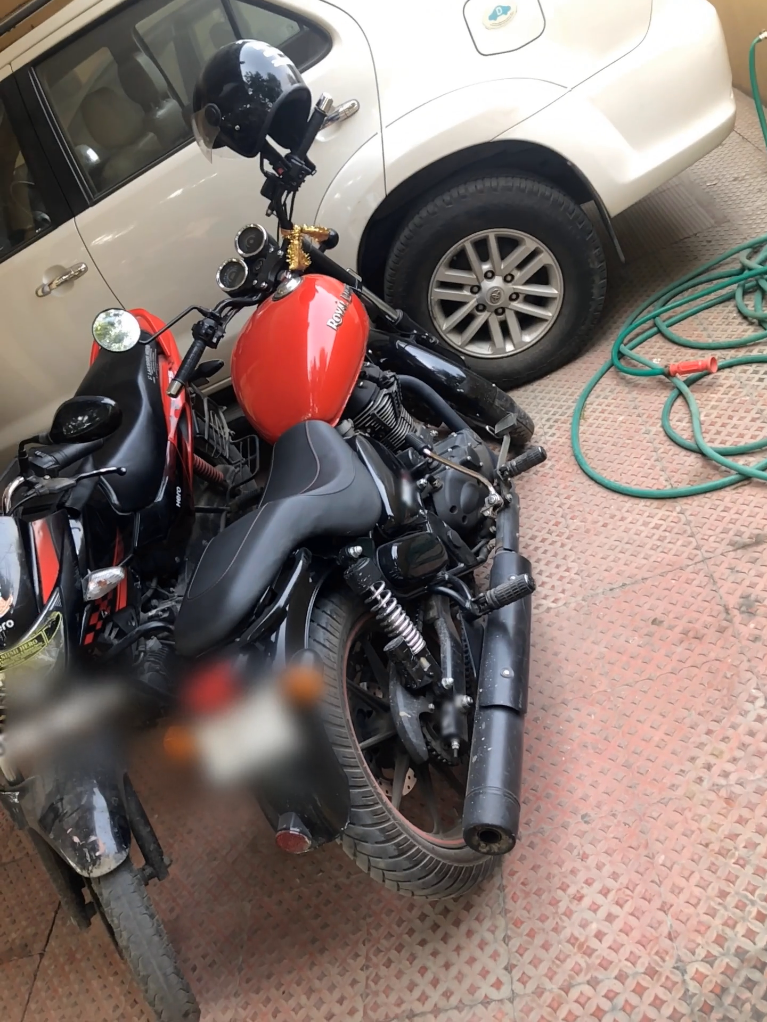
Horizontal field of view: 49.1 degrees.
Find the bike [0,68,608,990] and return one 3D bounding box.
[{"bbox_3d":[-0.195,-0.079,2.009,0.821,1.270,1.721,-20,33,18],"label":"bike"}]
